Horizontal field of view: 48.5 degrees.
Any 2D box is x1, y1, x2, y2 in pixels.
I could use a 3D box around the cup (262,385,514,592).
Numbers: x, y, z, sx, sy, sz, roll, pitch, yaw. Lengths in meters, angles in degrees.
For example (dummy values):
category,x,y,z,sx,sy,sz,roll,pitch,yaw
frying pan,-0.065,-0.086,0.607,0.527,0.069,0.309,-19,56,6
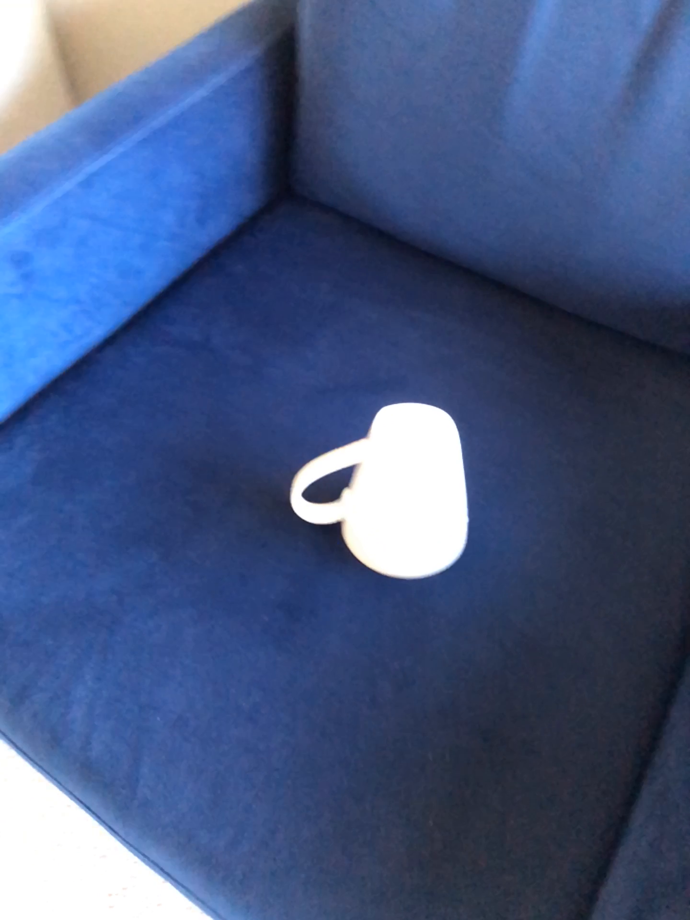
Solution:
category,x,y,z,sx,sy,sz,roll,pitch,yaw
cup,0.027,0.020,0.526,0.150,0.090,0.110,0,53,1
